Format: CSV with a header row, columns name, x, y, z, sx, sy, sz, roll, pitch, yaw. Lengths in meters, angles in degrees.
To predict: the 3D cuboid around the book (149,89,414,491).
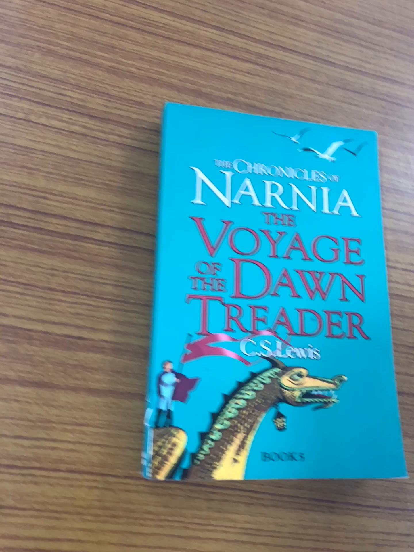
name,x,y,z,sx,sy,sz,roll,pitch,yaw
book,0.041,0.005,0.253,0.130,0.030,0.200,5,75,-12
